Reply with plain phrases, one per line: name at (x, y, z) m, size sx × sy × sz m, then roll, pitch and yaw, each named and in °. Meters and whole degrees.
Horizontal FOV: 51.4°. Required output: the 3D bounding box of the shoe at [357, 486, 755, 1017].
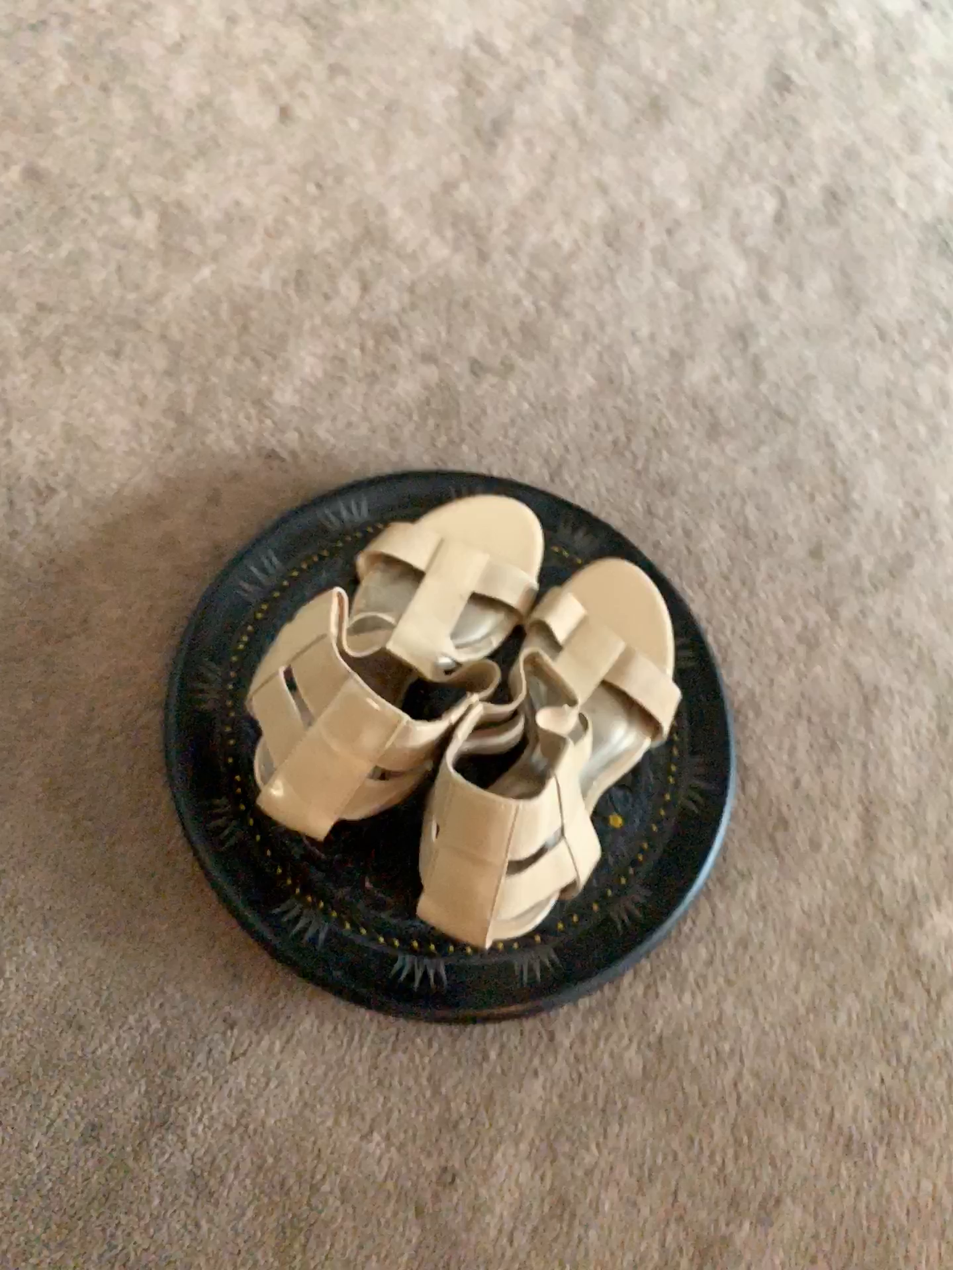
shoe at (0.046, 0.042, 0.478) m, size 0.100 × 0.089 × 0.231 m, roll 24°, pitch 47°, yaw 10°

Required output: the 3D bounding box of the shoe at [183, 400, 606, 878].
shoe at (-0.033, -0.009, 0.485) m, size 0.090 × 0.089 × 0.221 m, roll 32°, pitch 49°, yaw 6°
